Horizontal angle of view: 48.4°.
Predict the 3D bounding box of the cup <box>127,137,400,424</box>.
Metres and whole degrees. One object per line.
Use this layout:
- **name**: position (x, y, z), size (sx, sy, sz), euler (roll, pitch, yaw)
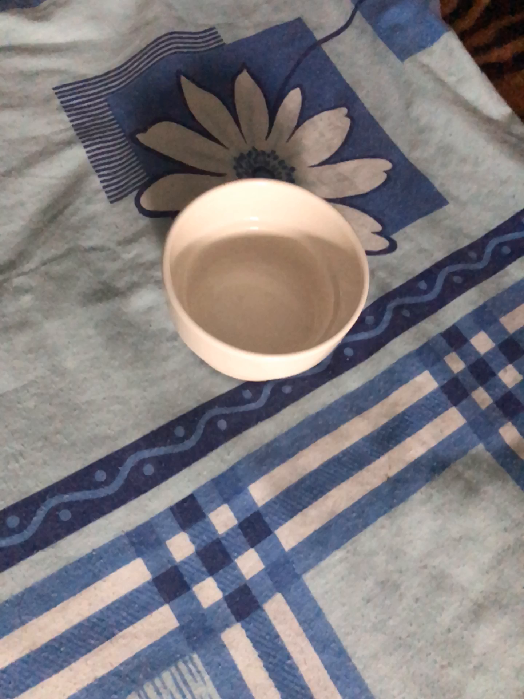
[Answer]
- **cup**: position (-0.003, -0.029, 0.247), size (0.077, 0.047, 0.091), euler (-19, 74, -12)
